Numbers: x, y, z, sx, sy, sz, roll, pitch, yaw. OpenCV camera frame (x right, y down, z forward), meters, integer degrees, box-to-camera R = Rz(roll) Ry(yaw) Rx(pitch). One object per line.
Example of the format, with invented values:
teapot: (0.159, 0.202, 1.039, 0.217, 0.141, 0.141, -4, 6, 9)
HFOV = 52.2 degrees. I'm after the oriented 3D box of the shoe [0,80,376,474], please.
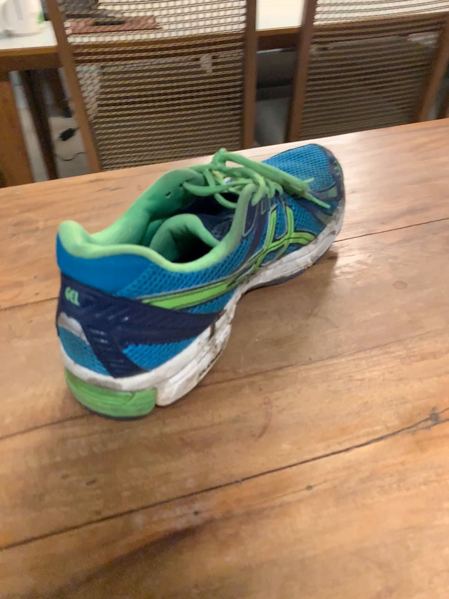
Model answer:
shoe: (-0.008, -0.049, 0.339, 0.110, 0.119, 0.301, 23, 48, 27)
